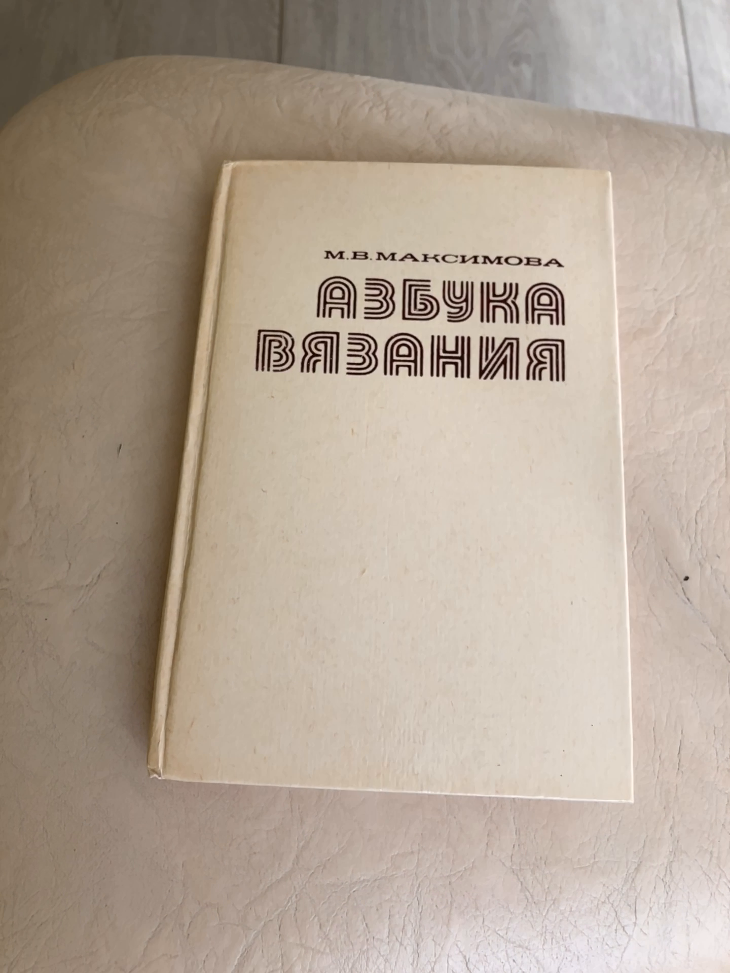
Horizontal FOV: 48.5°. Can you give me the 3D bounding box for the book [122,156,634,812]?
[{"bbox_3d":[0.010,-0.012,0.277,0.148,0.024,0.218,3,73,3],"label":"book"}]
